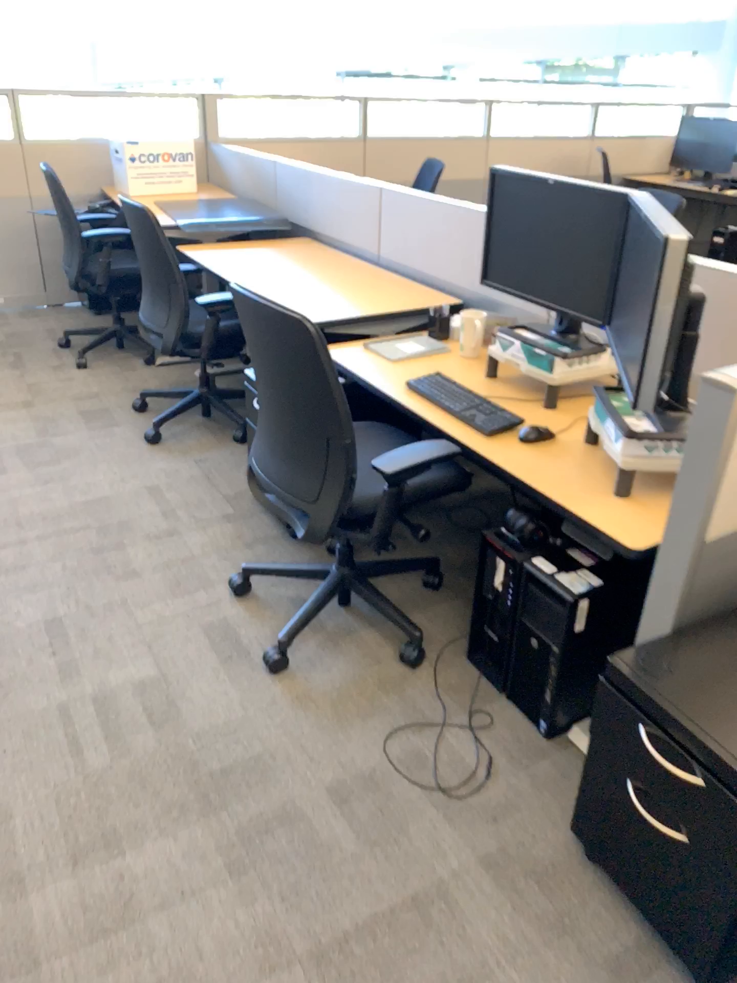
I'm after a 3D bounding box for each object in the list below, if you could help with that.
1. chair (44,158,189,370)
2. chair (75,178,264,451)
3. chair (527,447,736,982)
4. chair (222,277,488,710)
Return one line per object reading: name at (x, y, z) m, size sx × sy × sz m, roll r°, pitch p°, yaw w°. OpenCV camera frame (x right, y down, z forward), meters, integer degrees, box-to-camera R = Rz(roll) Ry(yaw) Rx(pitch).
chair at (-1.377, -1.261, 4.163) m, size 0.600 × 0.994 × 0.563 m, roll -9°, pitch 30°, yaw -19°
chair at (-0.840, -0.782, 3.279) m, size 0.580 × 0.994 × 0.523 m, roll -14°, pitch 32°, yaw -27°
chair at (0.726, 0.612, 0.803) m, size 0.630 × 0.994 × 0.764 m, roll -13°, pitch 32°, yaw -26°
chair at (-0.069, -0.014, 2.109) m, size 0.460 × 0.994 × 0.543 m, roll -13°, pitch 32°, yaw -26°
